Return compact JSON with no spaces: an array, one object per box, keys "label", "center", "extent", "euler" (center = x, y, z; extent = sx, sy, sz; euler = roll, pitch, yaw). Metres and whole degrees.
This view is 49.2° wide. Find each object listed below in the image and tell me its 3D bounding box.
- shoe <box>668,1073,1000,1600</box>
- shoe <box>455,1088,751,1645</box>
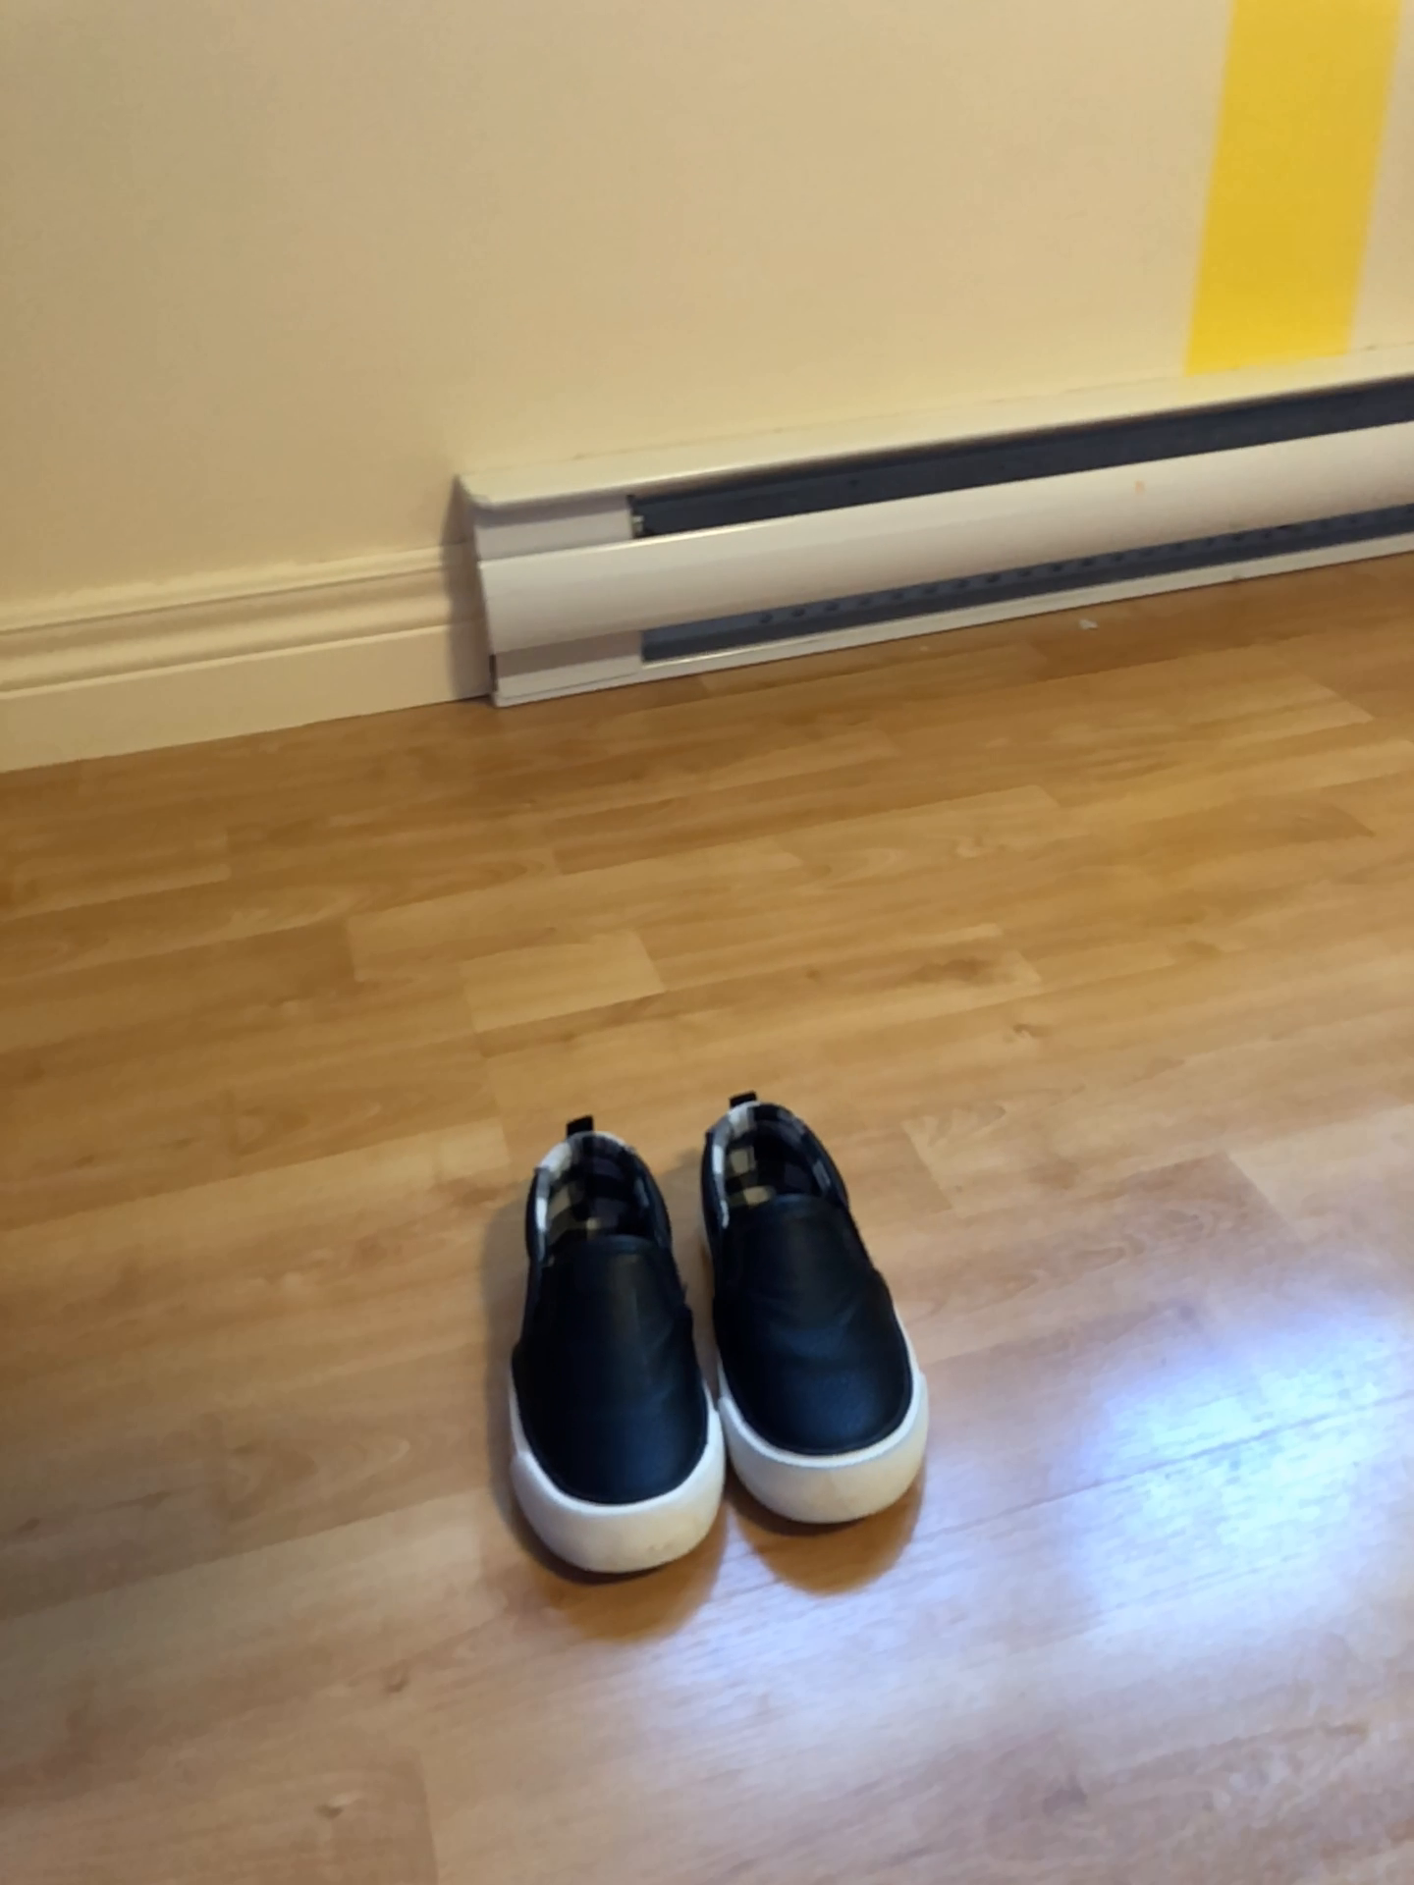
[{"label":"shoe","center":[0.038,0.130,0.552],"extent":[0.080,0.060,0.181],"euler":[-6,34,-5]},{"label":"shoe","center":[-0.041,0.135,0.532],"extent":[0.080,0.060,0.181],"euler":[-7,34,-6]}]
